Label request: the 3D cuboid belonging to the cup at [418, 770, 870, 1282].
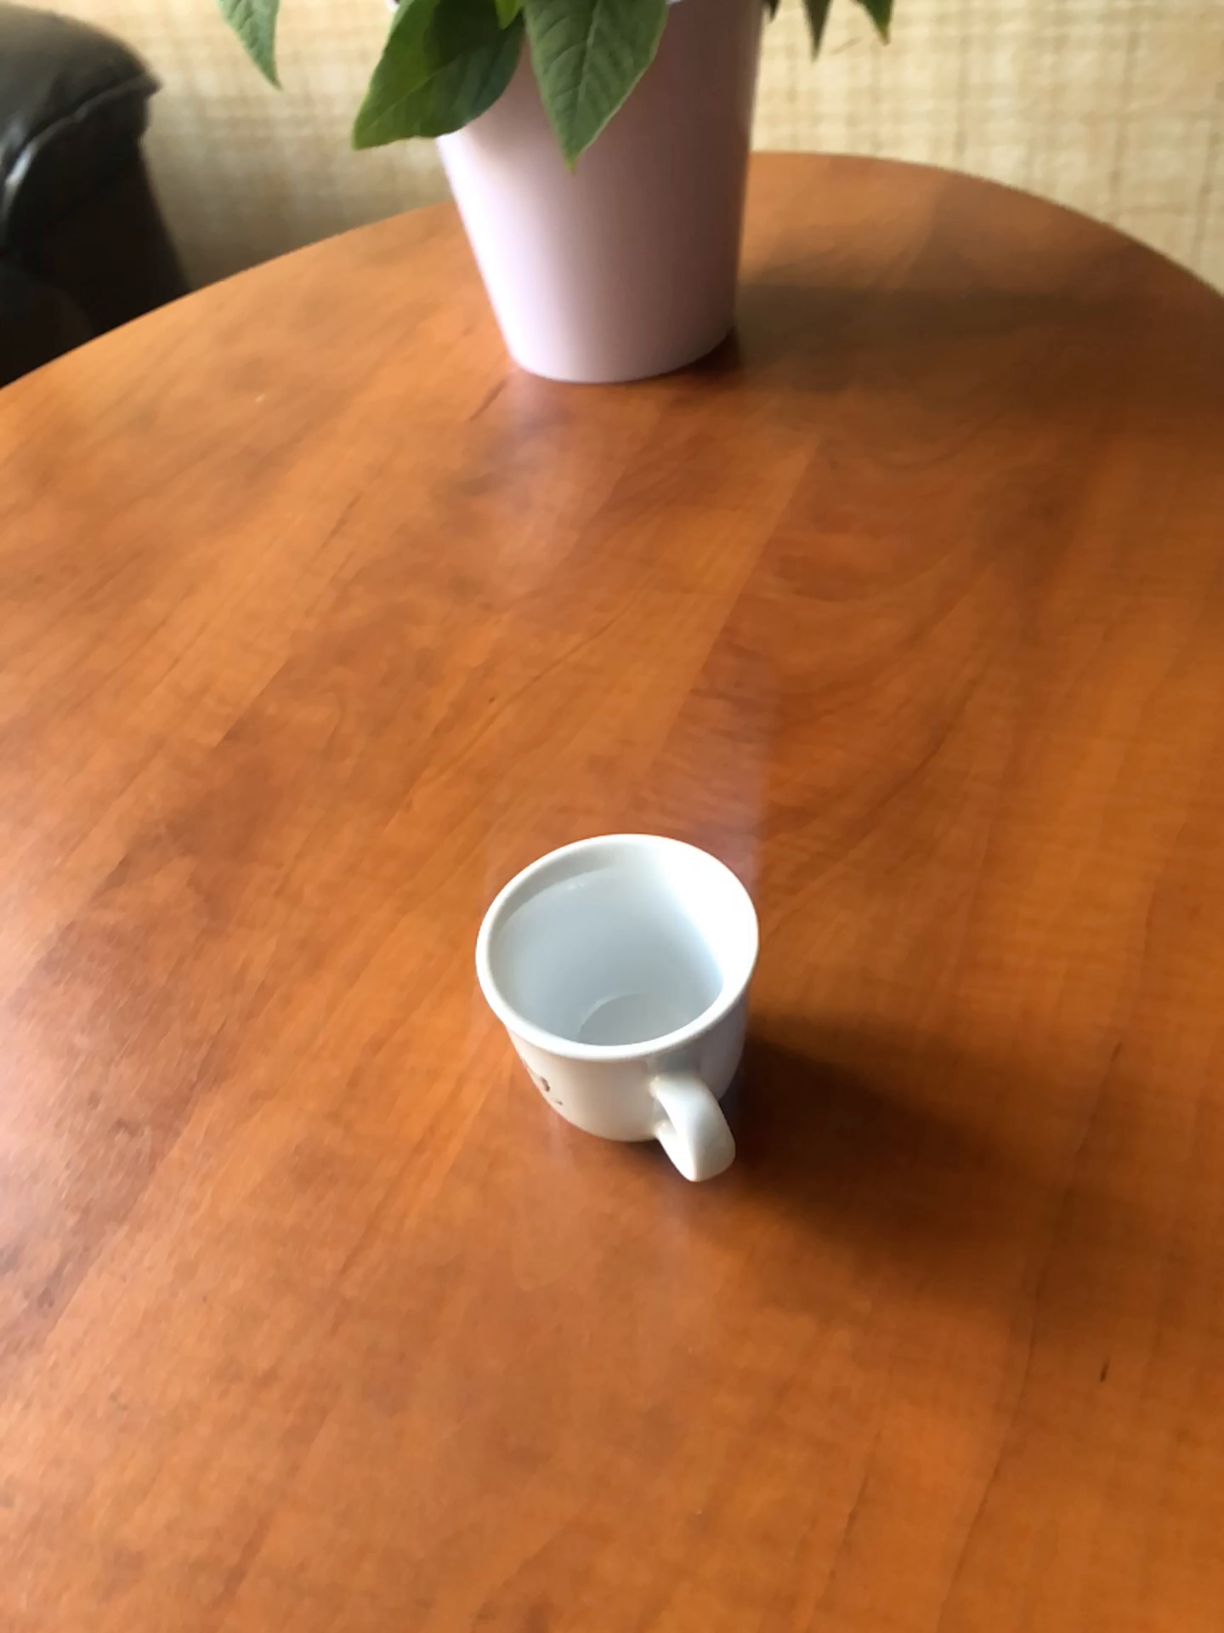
[{"bbox_3d":[0.006,0.044,0.306,0.065,0.050,0.083,-24,46,-16],"label":"cup"}]
